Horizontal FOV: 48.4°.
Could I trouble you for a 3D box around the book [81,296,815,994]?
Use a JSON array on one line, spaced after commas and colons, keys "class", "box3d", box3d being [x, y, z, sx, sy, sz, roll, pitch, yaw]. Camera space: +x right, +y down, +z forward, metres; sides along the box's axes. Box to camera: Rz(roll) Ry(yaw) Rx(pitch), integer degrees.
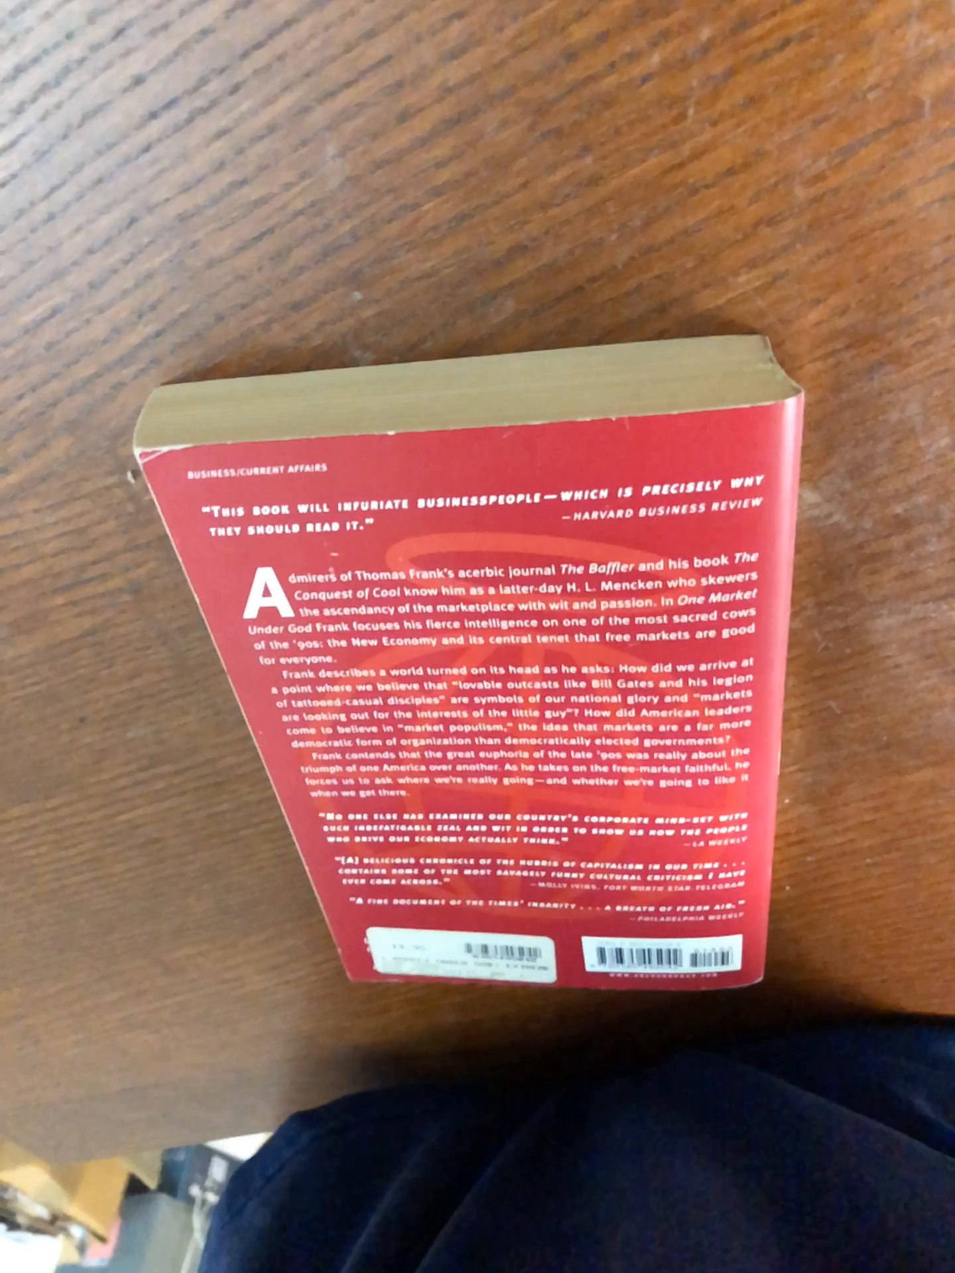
[{"class": "book", "box3d": [0.007, 0.024, 0.279, 0.140, 0.030, 0.211, -2, 132, 10]}]
